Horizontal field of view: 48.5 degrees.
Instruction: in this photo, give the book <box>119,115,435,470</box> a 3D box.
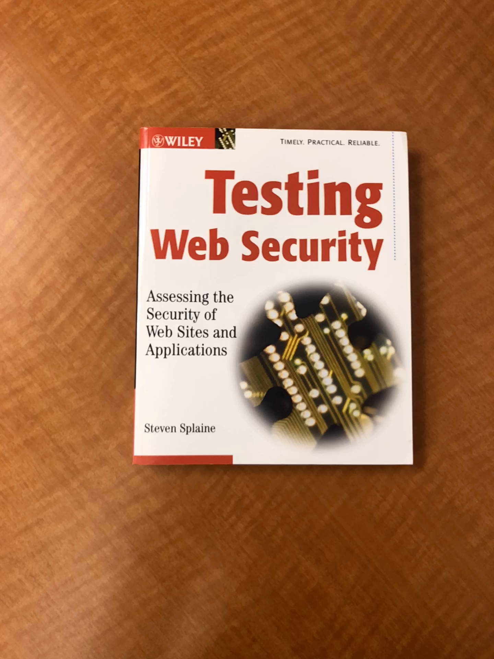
[{"bbox_3d":[0.020,-0.025,0.371,0.200,0.030,0.230,1,85,-2],"label":"book"}]
